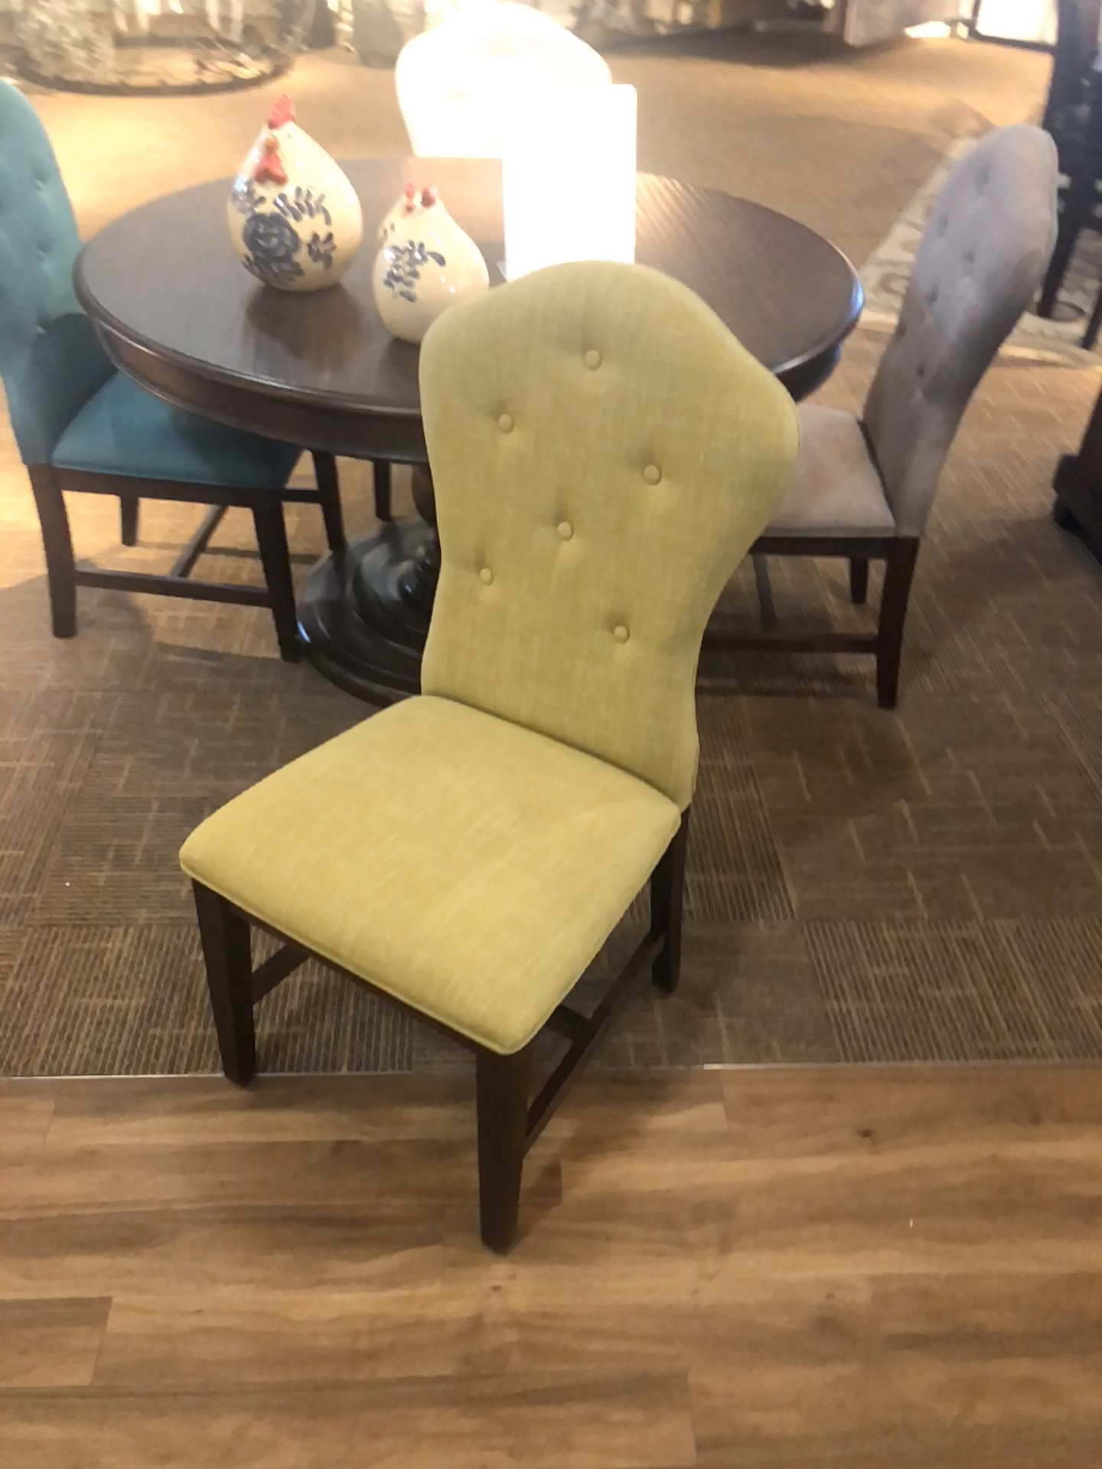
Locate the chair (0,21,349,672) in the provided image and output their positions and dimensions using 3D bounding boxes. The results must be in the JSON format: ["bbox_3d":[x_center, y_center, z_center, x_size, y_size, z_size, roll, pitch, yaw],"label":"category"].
[{"bbox_3d":[-0.738,-0.677,2.171,0.575,0.960,0.521,5,38,3],"label":"chair"}]

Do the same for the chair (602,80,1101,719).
[{"bbox_3d":[0.438,-0.575,2.160,0.635,0.950,0.511,3,38,0],"label":"chair"}]

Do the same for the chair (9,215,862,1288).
[{"bbox_3d":[-0.088,0.015,1.433,0.539,0.979,0.618,22,42,23],"label":"chair"}]
